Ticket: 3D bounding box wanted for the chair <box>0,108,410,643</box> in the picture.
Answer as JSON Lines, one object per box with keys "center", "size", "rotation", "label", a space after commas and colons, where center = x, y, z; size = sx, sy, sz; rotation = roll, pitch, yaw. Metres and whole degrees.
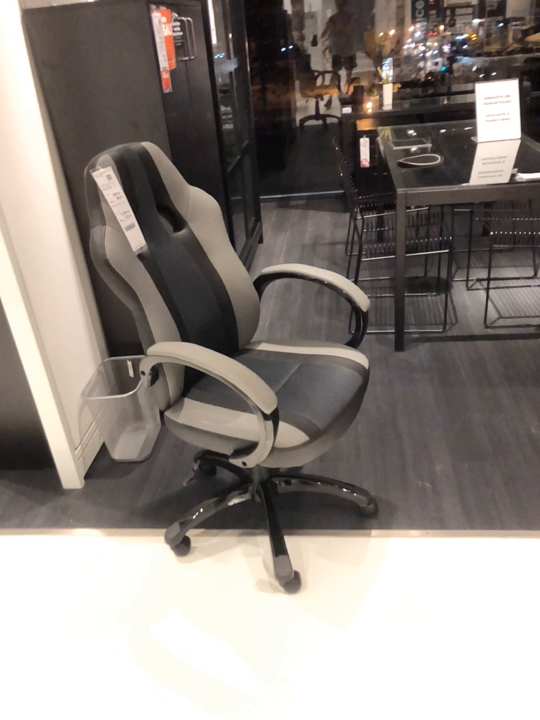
{"center": [-0.112, -0.025, 1.677], "size": [0.782, 1.161, 0.714], "rotation": [12, 33, 30], "label": "chair"}
